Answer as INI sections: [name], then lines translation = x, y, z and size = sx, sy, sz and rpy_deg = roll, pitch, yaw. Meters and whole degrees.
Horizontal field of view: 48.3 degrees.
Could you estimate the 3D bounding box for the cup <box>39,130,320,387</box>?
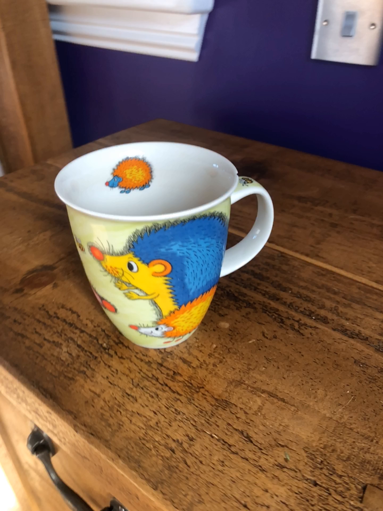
[cup]
translation = -0.013, -0.009, 0.264
size = 0.127, 0.089, 0.107
rpy_deg = -14, 36, -18
